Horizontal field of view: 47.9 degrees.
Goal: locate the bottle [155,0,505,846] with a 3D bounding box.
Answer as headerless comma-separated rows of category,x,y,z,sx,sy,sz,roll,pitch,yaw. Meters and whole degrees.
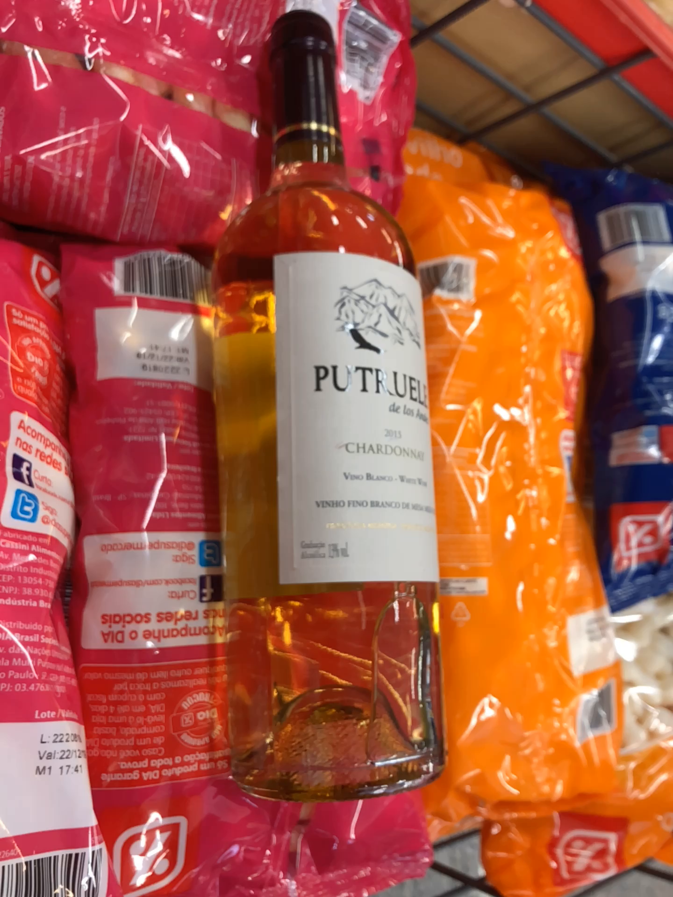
bottle,-0.010,-0.037,0.270,0.080,0.070,0.300,8,72,-41
